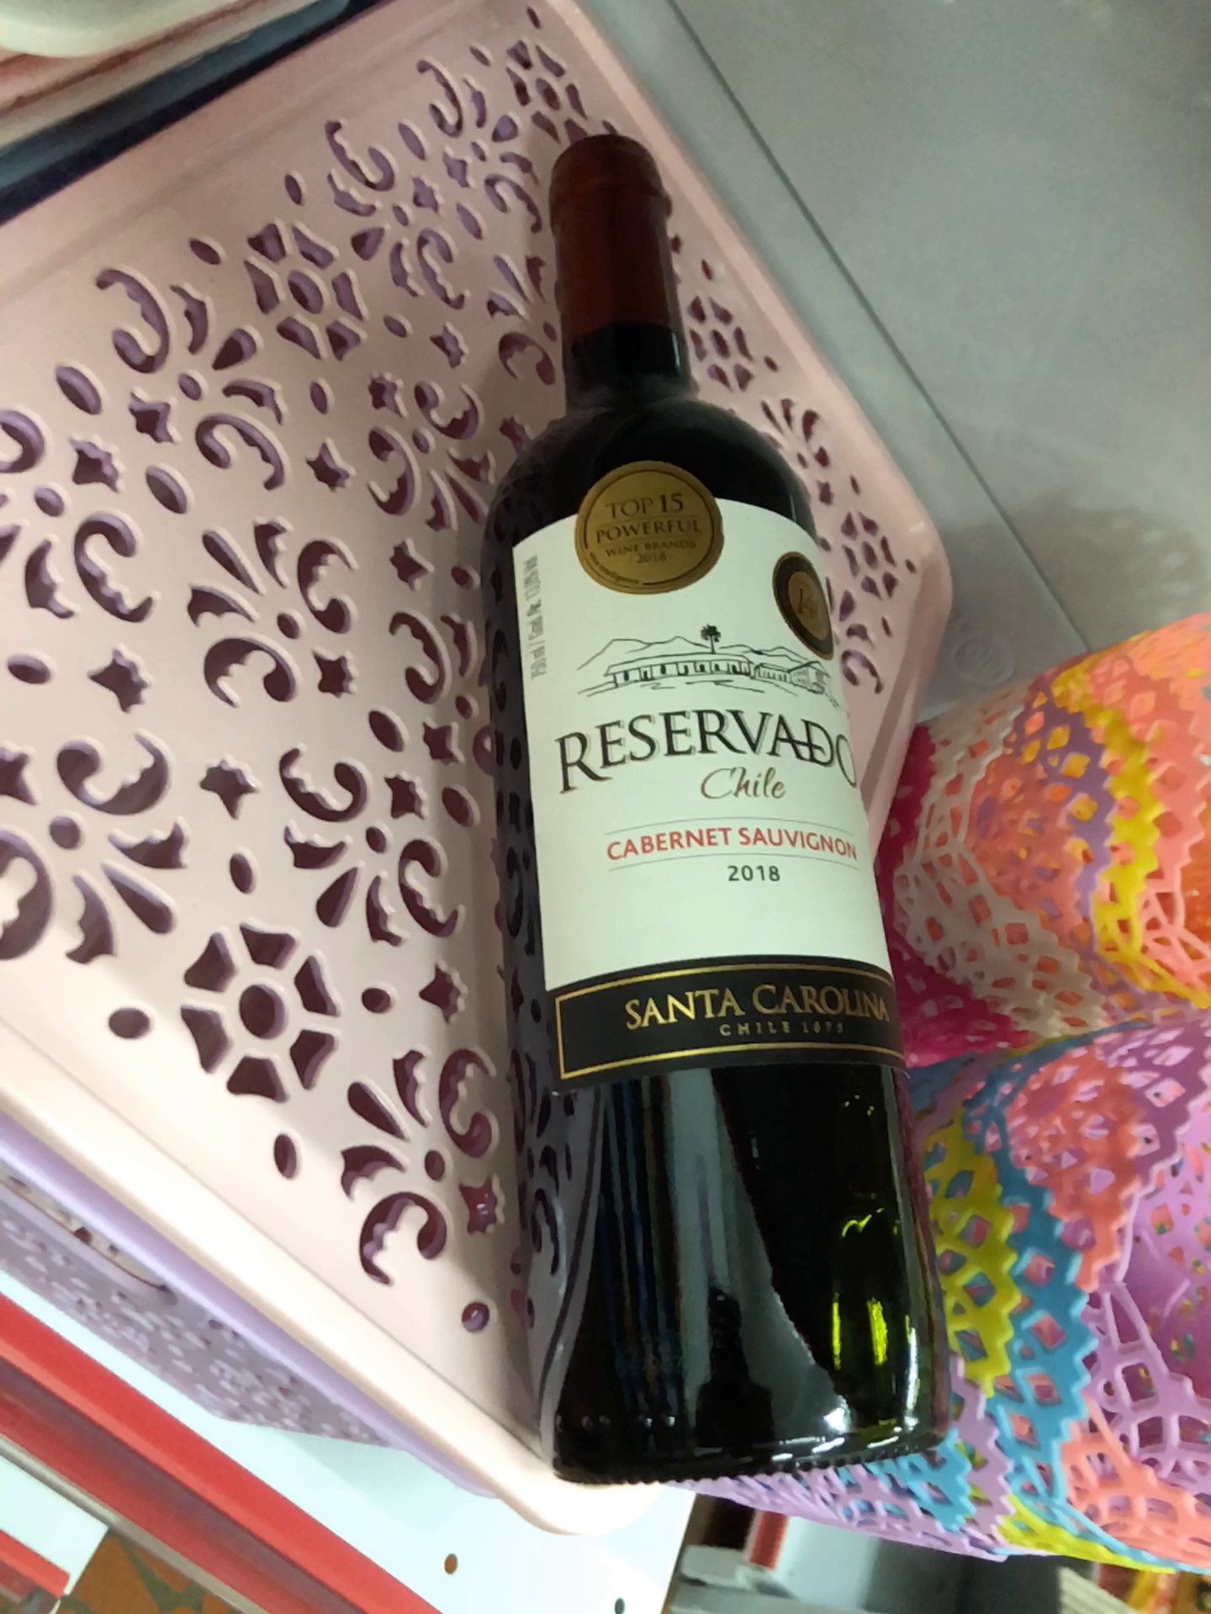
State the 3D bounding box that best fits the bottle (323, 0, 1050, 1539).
[{"bbox_3d":[0.001,-0.046,0.272,0.080,0.060,0.330,15,57,-42],"label":"bottle"}]
